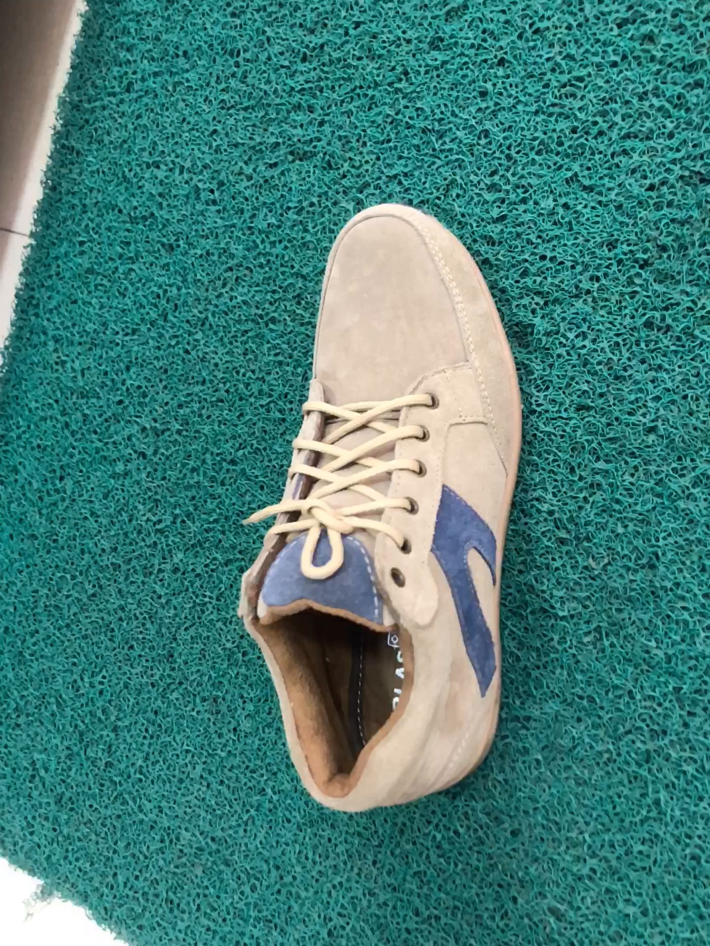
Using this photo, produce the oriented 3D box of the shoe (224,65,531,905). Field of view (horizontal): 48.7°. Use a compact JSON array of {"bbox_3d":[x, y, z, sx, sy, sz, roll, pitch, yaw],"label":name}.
[{"bbox_3d":[0.015,0.005,0.374,0.100,0.120,0.320,-2,87,26],"label":"shoe"}]
